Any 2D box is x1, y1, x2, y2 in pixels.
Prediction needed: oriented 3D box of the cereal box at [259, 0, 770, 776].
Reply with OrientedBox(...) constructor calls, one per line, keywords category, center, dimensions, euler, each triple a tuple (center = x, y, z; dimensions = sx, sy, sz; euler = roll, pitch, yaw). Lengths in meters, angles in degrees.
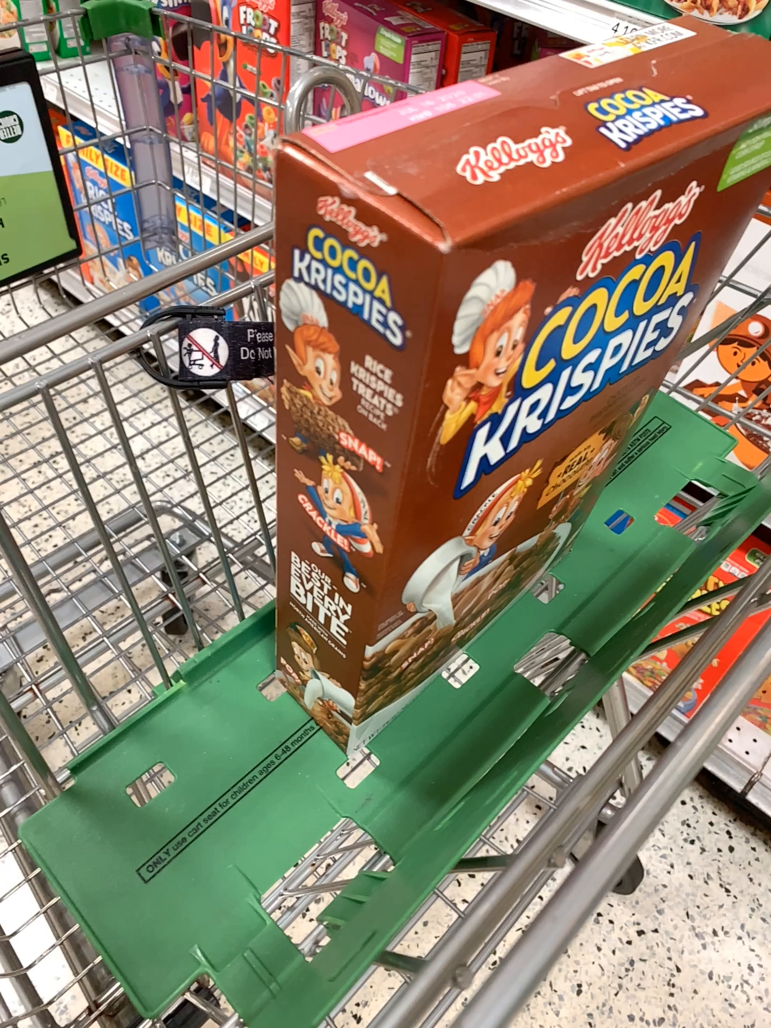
OrientedBox(category="cereal box", center=(0.043, -0.028, 0.347), dimensions=(0.201, 0.307, 0.060), euler=(-34, 64, -30))
